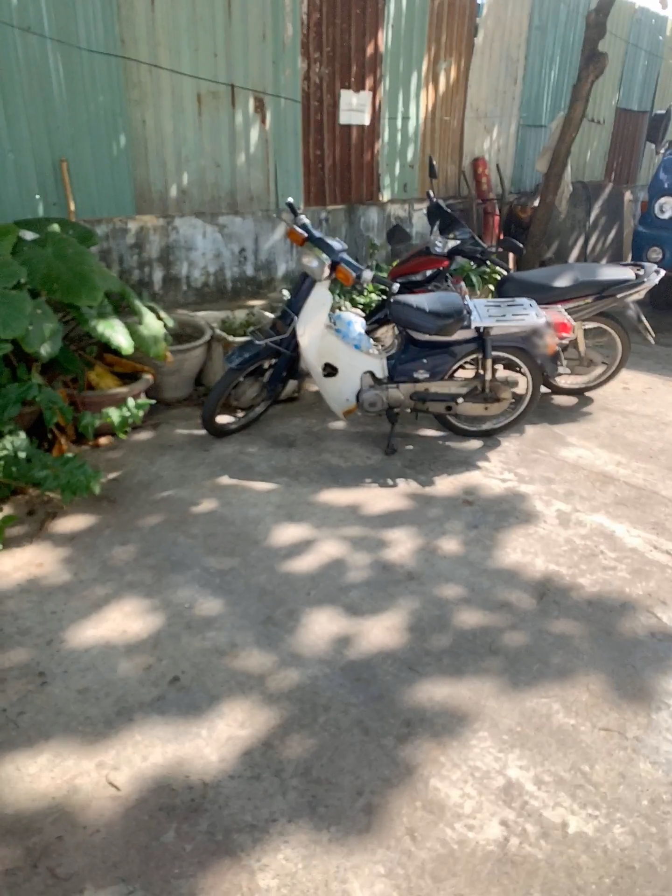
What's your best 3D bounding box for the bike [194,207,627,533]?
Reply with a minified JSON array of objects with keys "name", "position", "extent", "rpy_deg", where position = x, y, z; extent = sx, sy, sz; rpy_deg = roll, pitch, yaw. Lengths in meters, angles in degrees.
[{"name":"bike","position":[0.210,-0.365,2.734],"extent":[1.475,1.024,0.656],"rpy_deg":[-5,26,-11]}]
